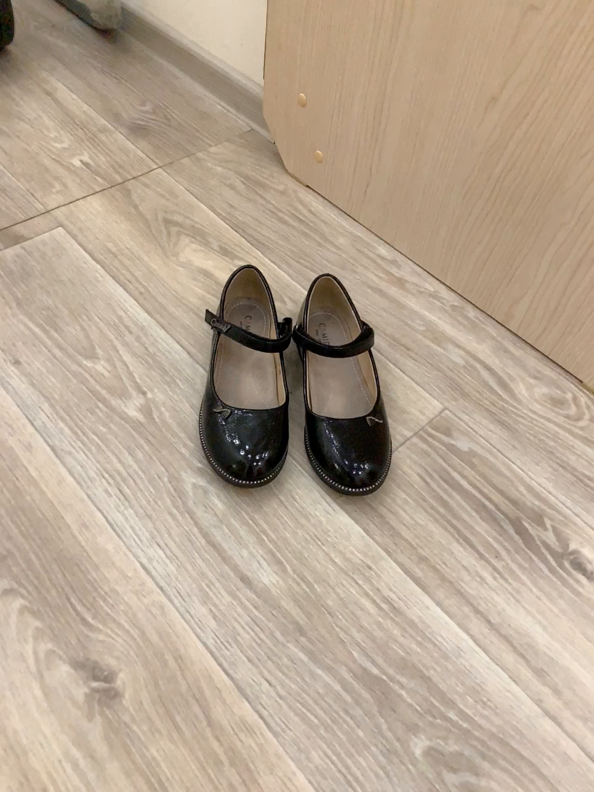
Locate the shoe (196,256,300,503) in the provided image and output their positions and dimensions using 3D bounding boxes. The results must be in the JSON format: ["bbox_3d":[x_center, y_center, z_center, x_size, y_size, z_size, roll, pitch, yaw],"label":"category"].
[{"bbox_3d":[-0.055,-0.024,0.642,0.090,0.100,0.251,0,54,-7],"label":"shoe"}]

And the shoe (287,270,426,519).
[{"bbox_3d":[0.051,-0.009,0.645,0.090,0.100,0.251,-2,54,-8],"label":"shoe"}]
